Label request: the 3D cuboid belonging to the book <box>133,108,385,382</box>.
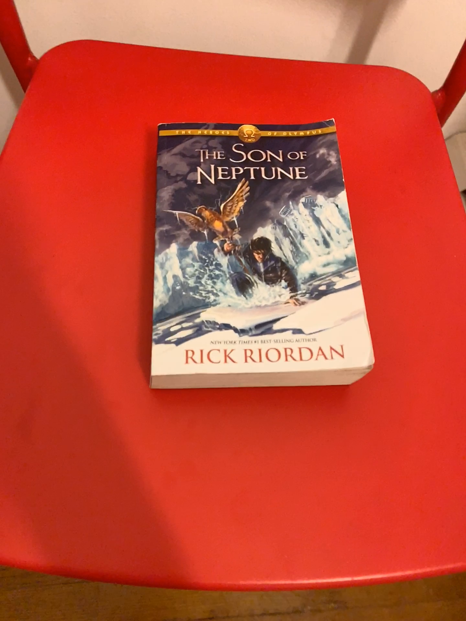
[{"bbox_3d":[0.011,-0.050,0.324,0.142,0.040,0.189,0,65,-5],"label":"book"}]
